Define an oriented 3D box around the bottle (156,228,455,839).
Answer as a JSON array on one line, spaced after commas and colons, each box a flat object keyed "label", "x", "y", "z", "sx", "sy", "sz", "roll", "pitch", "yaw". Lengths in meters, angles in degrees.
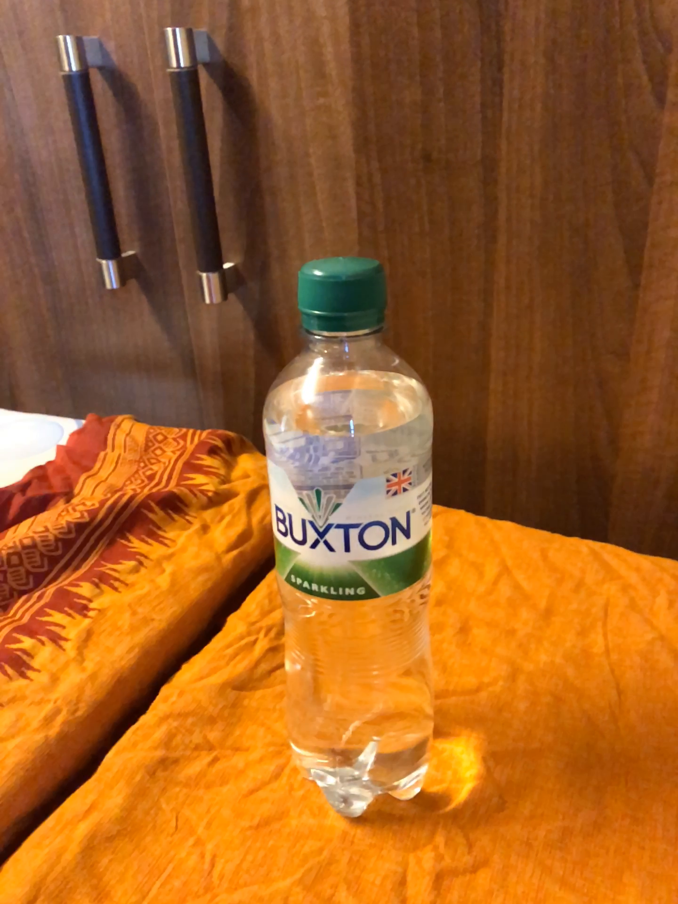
[{"label": "bottle", "x": -0.002, "y": 0.035, "z": 0.289, "sx": 0.070, "sy": 0.218, "sz": 0.070, "roll": -3, "pitch": 28, "yaw": 1}]
